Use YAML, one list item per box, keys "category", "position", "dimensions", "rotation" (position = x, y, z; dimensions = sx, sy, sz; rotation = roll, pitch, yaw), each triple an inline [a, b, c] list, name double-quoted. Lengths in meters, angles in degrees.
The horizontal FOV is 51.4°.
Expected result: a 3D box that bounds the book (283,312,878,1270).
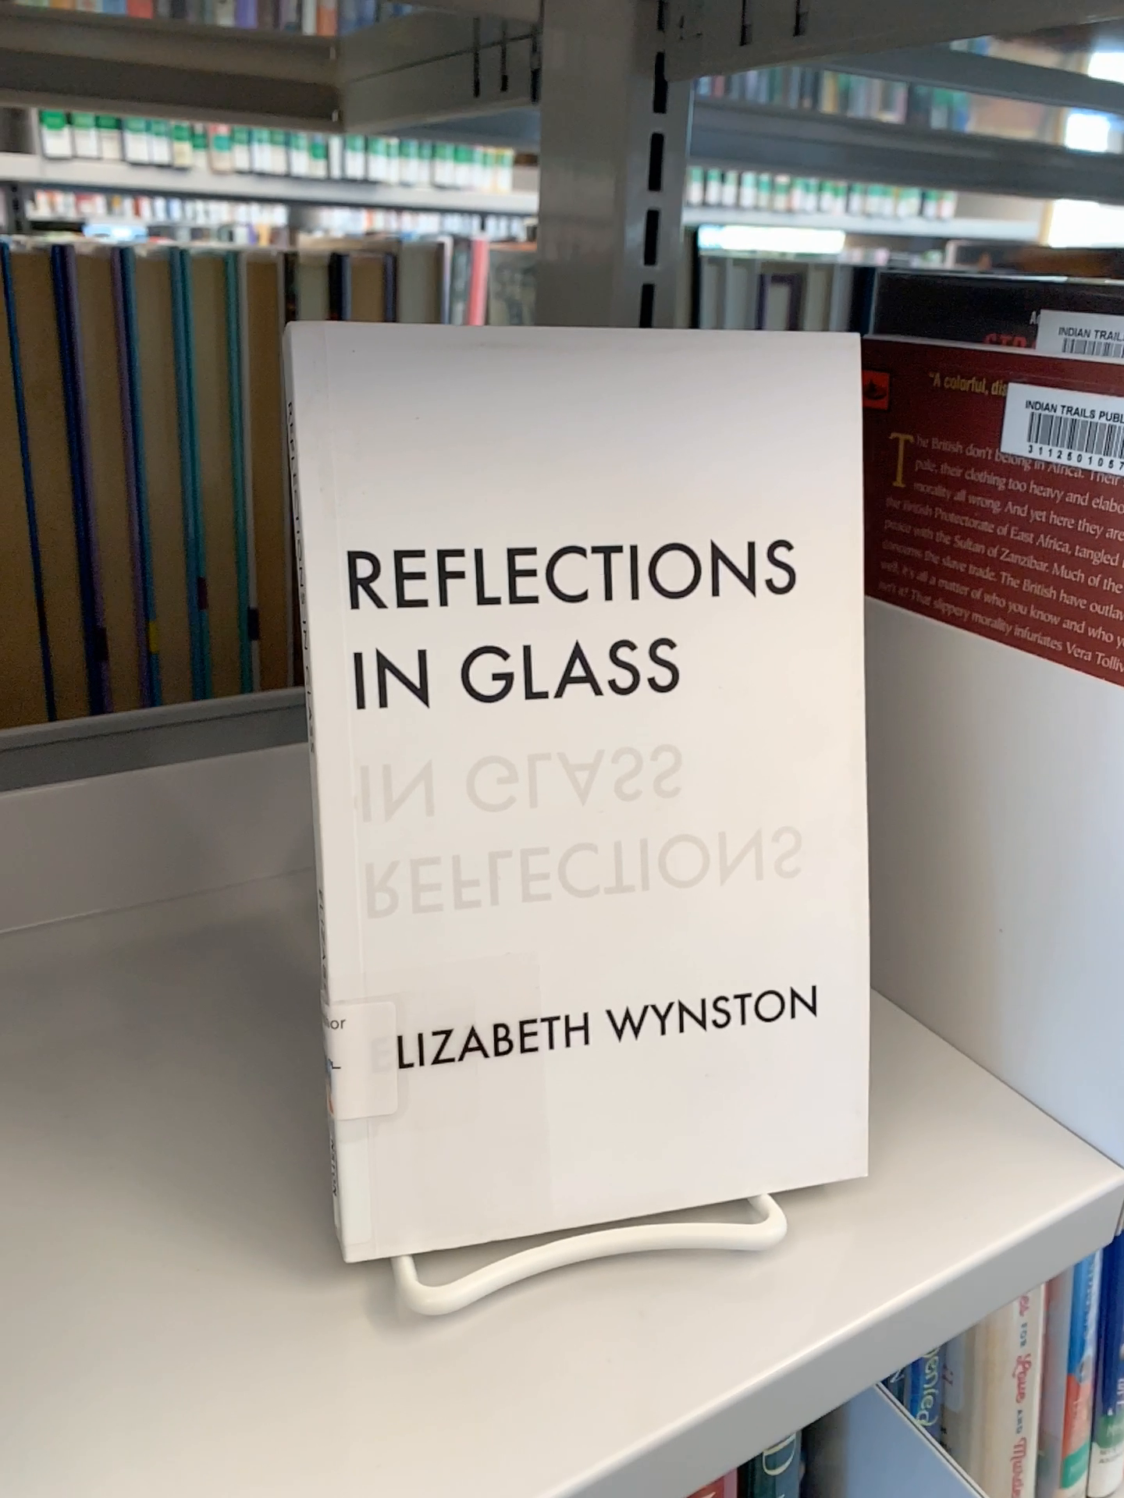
- category: "book"
  position: [0.008, 0.008, 0.261]
  dimensions: [0.127, 0.196, 0.018]
  rotation: [-3, 7, -14]
